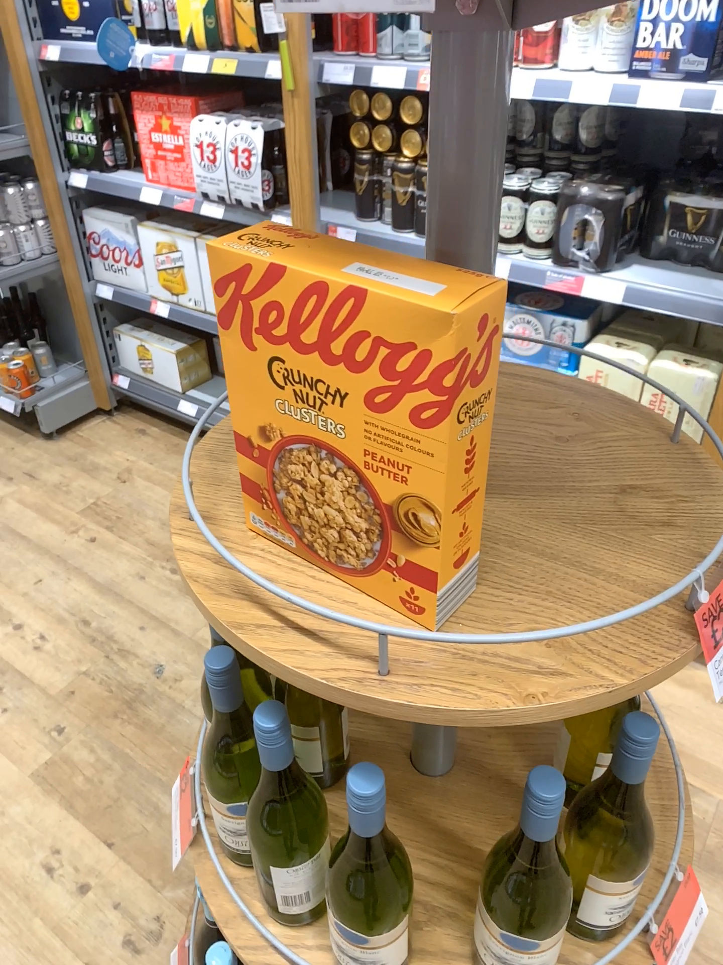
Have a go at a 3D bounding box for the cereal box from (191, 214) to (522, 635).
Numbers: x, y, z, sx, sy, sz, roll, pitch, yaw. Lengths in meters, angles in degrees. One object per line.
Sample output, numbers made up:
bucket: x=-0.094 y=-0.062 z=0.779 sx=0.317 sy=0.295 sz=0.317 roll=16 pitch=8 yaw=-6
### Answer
cereal box: x=-0.008 y=-0.042 z=0.520 sx=0.211 sy=0.238 sz=0.060 roll=24 pitch=42 yaw=31
